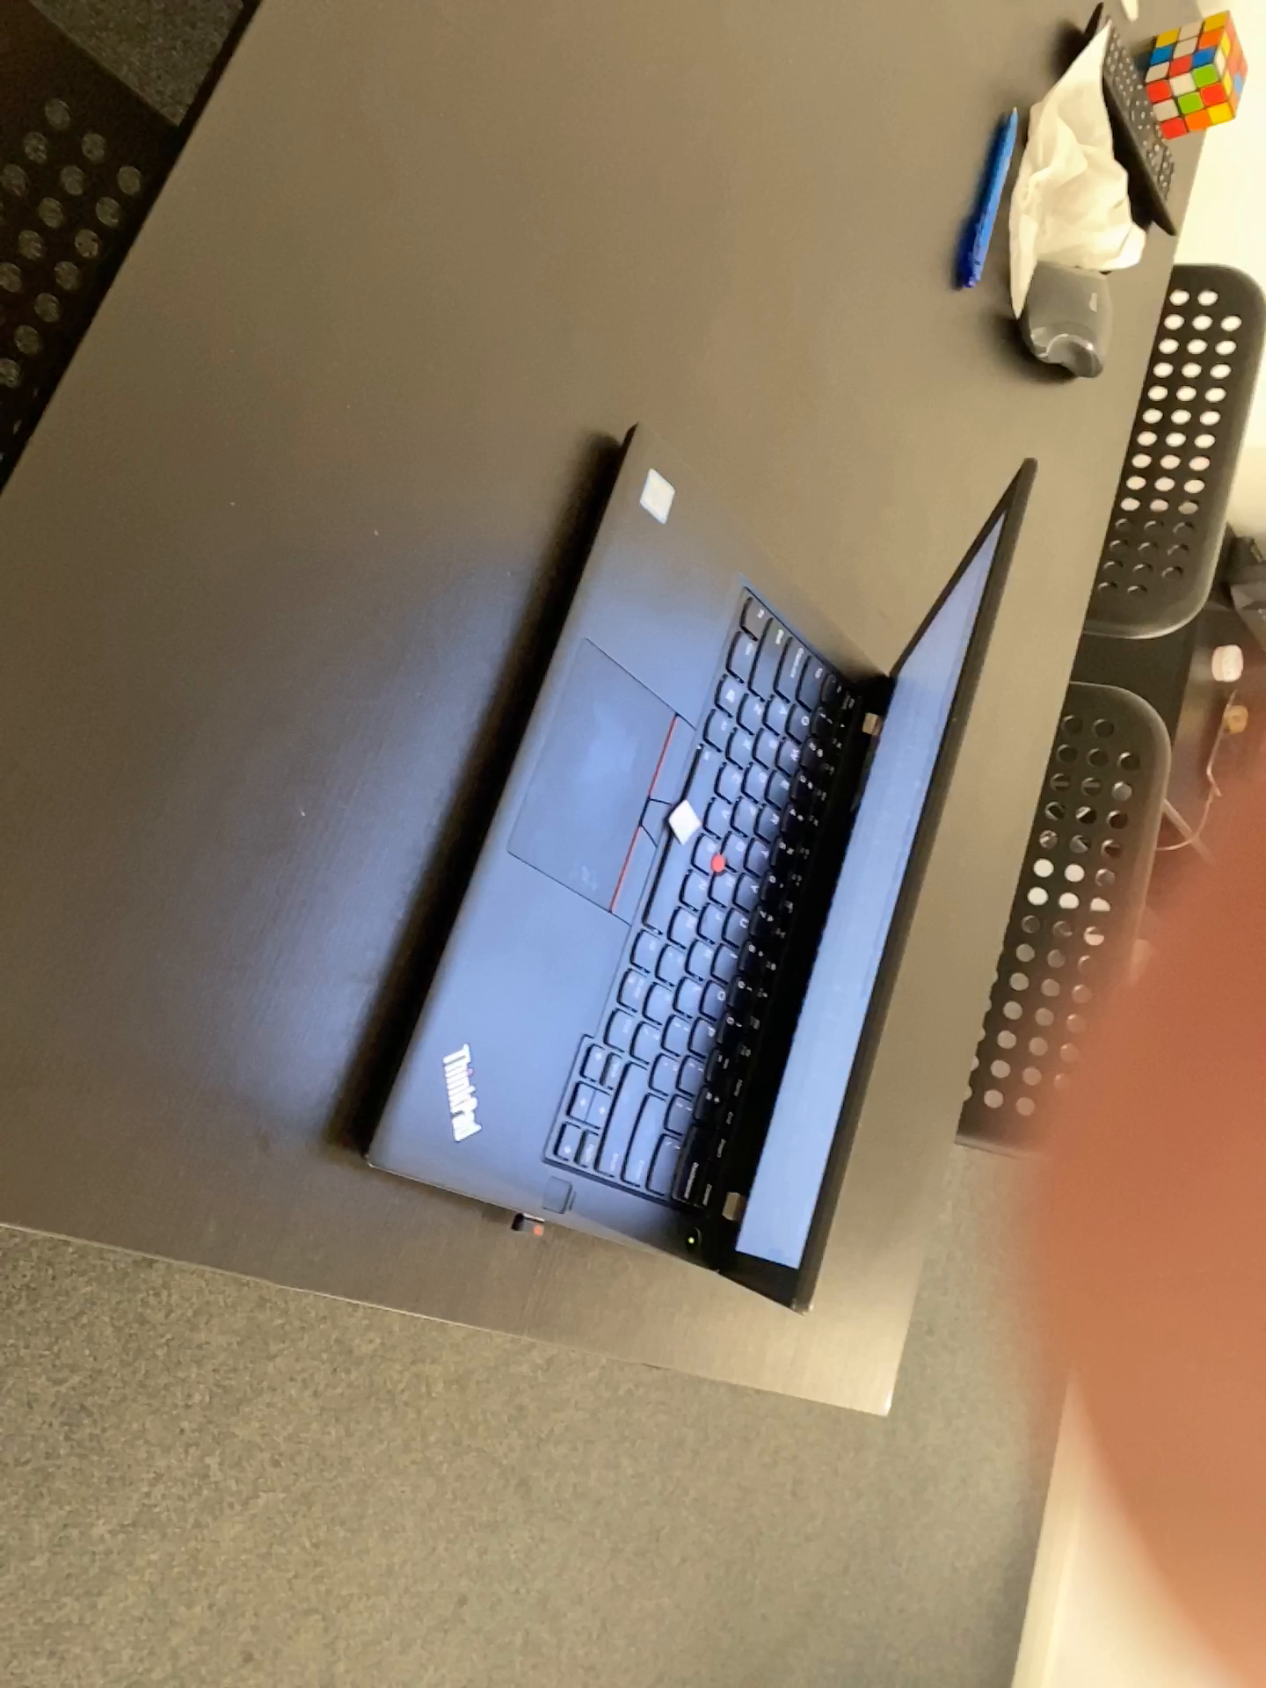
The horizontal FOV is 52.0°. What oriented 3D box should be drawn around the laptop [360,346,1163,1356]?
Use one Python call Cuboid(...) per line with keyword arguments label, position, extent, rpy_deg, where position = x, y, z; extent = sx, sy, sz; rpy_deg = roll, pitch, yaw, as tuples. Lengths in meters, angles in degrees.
Cuboid(label="laptop", position=(0.070, 0.013, 0.506), extent=(0.217, 0.138, 0.299), rpy_deg=(32, 70, -43))
